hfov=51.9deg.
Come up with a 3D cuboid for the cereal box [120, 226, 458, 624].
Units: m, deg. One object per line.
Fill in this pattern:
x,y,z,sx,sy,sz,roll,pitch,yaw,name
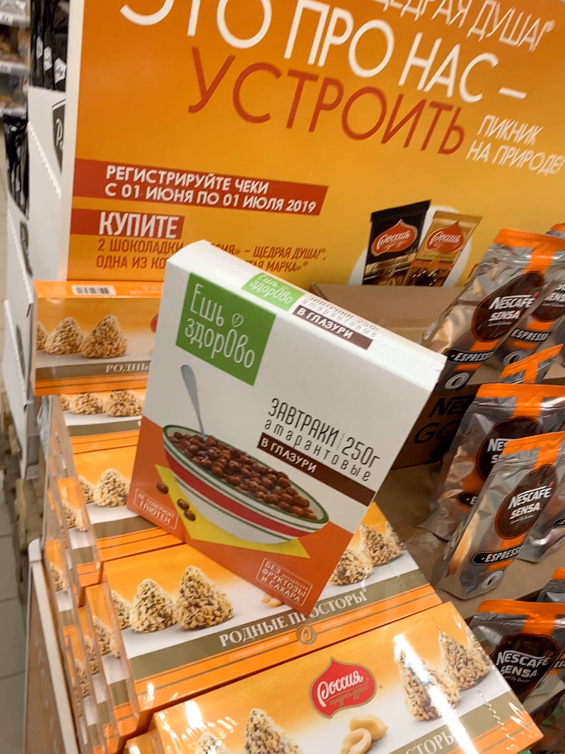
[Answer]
-0.015,0.048,0.448,0.190,0.258,0.060,27,36,11,cereal box
